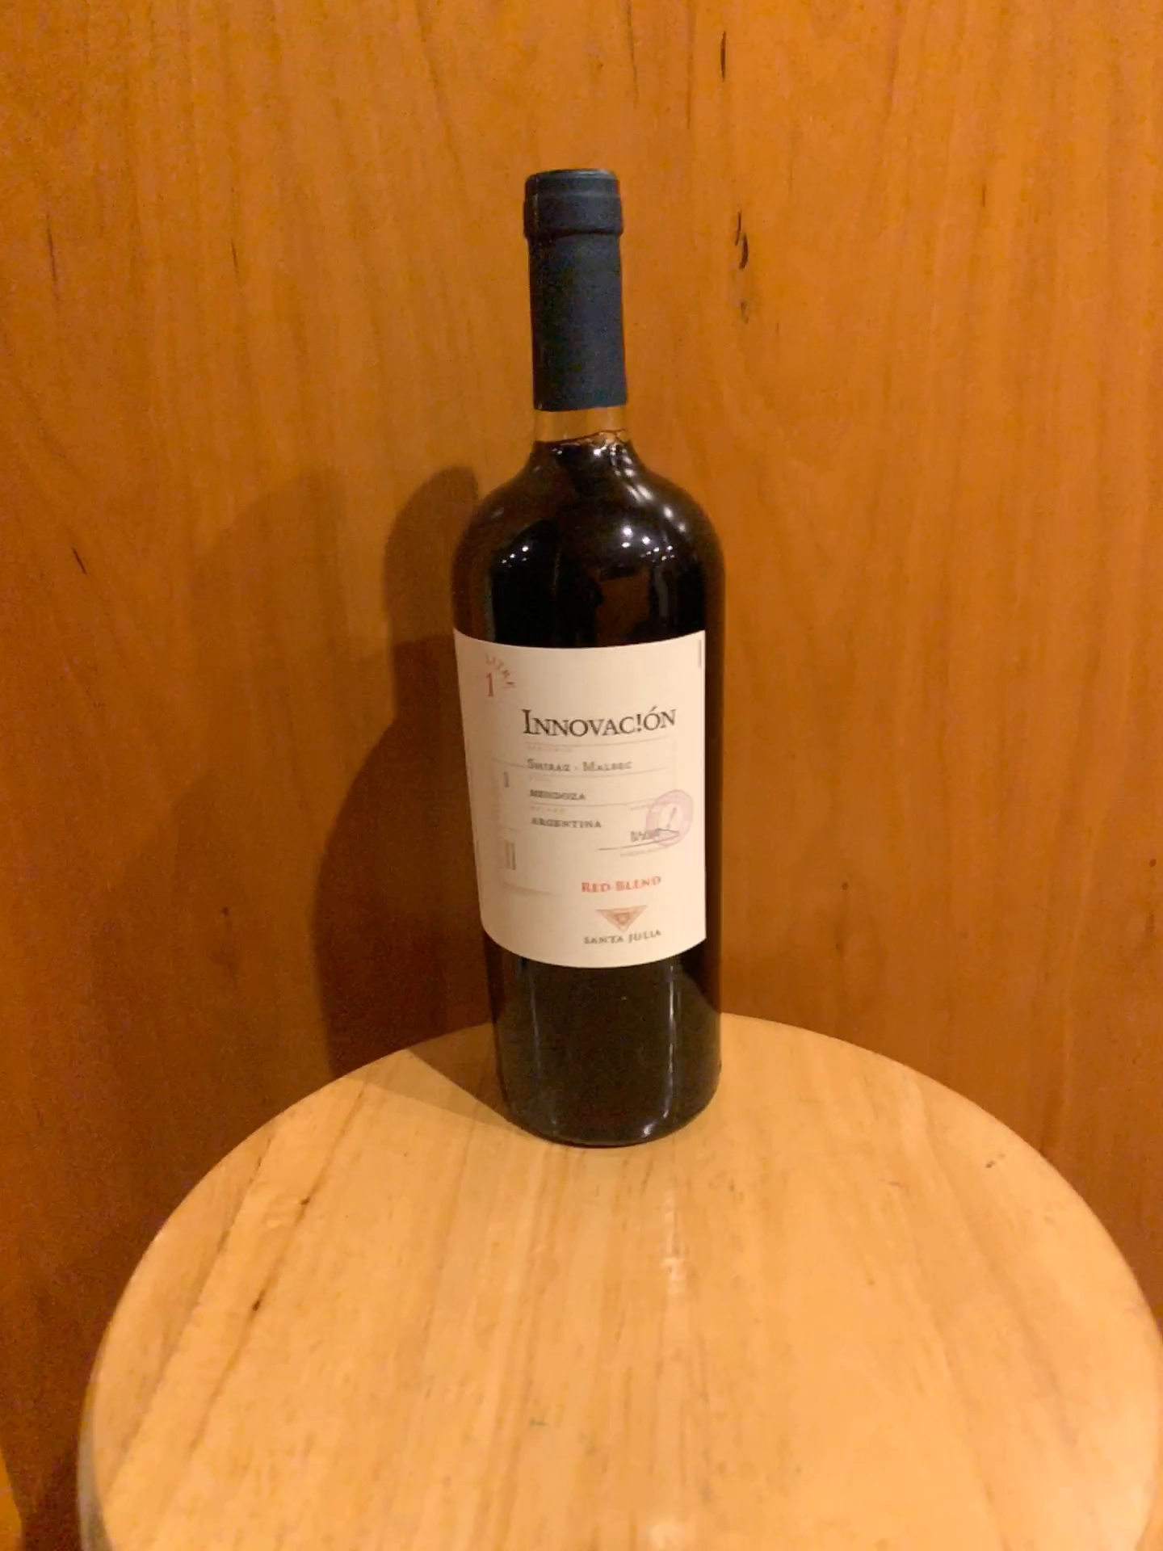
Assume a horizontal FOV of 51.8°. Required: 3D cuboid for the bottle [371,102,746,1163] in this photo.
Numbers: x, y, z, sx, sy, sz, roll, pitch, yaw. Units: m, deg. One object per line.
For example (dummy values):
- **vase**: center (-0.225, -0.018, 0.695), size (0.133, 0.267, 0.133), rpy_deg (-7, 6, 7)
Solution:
- **bottle**: center (0.001, -0.031, 0.373), size (0.090, 0.299, 0.080), rpy_deg (-2, 19, 2)
